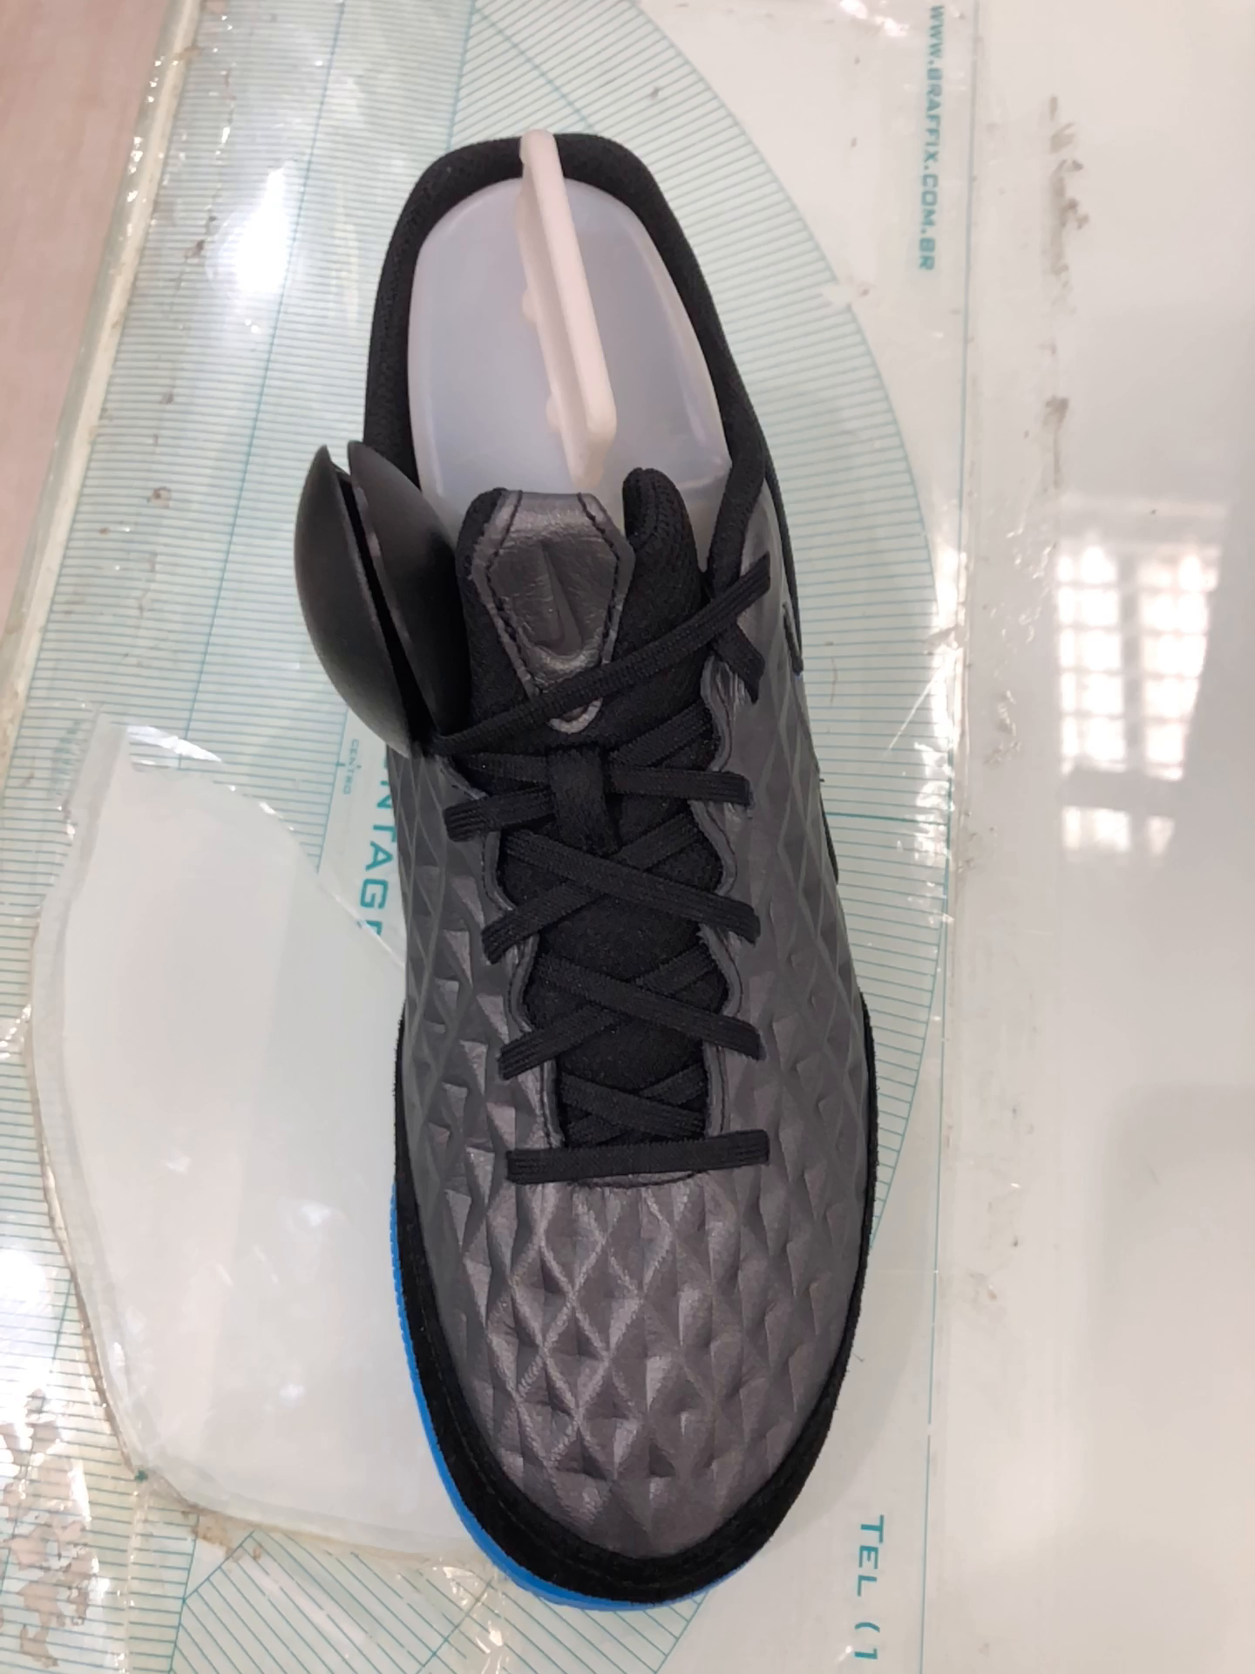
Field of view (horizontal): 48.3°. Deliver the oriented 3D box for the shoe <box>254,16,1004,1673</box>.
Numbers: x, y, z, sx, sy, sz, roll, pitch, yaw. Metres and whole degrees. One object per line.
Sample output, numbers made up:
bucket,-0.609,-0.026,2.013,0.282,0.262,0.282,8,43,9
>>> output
shoe,-0.008,-0.007,0.279,0.100,0.100,0.290,-4,72,-1
